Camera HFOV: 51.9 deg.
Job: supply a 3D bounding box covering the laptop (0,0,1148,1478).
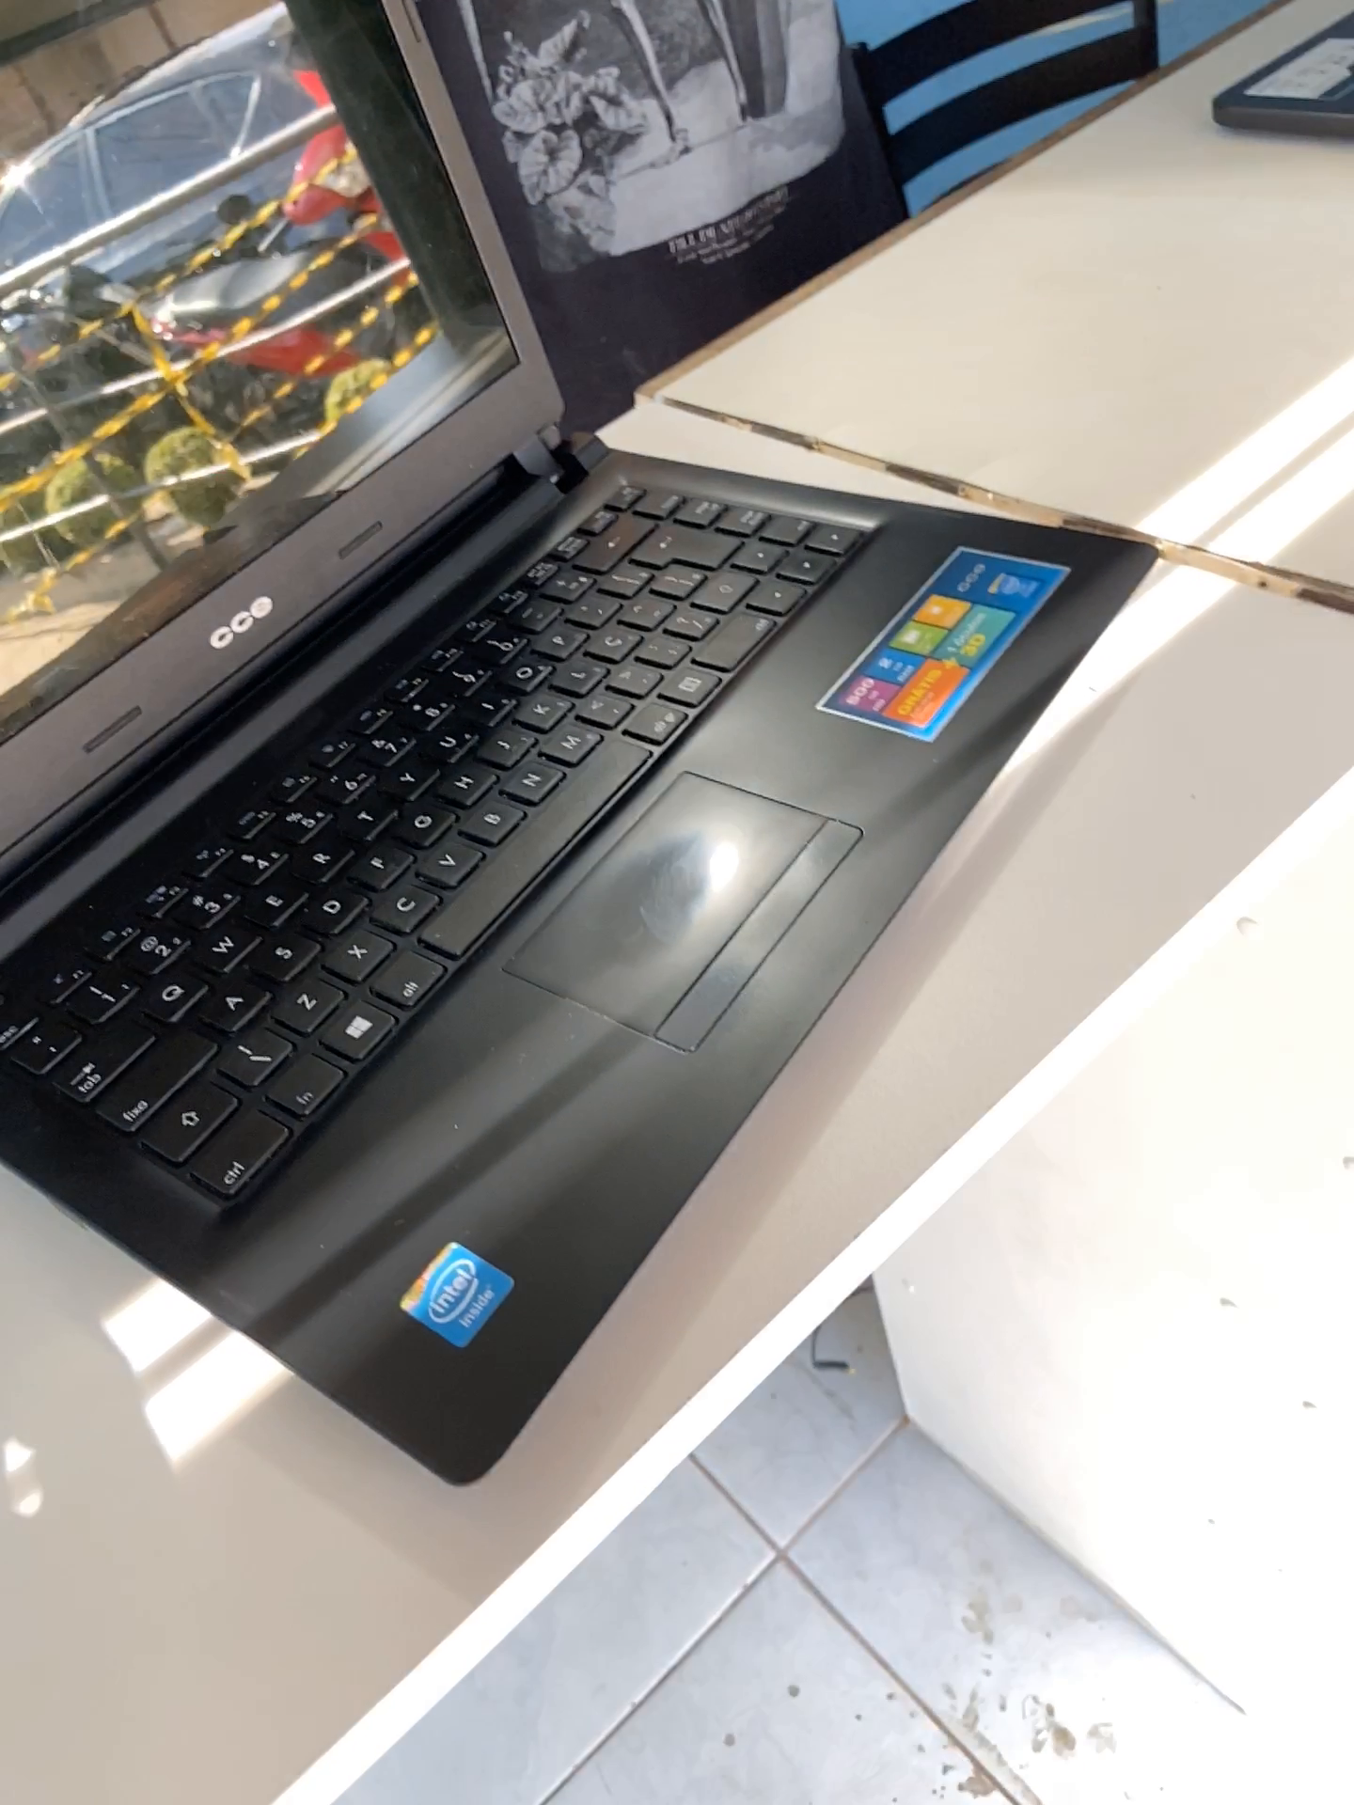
[{"bbox_3d":[-0.080,-0.120,0.337,0.267,0.216,0.325,21,55,32],"label":"laptop"}]
